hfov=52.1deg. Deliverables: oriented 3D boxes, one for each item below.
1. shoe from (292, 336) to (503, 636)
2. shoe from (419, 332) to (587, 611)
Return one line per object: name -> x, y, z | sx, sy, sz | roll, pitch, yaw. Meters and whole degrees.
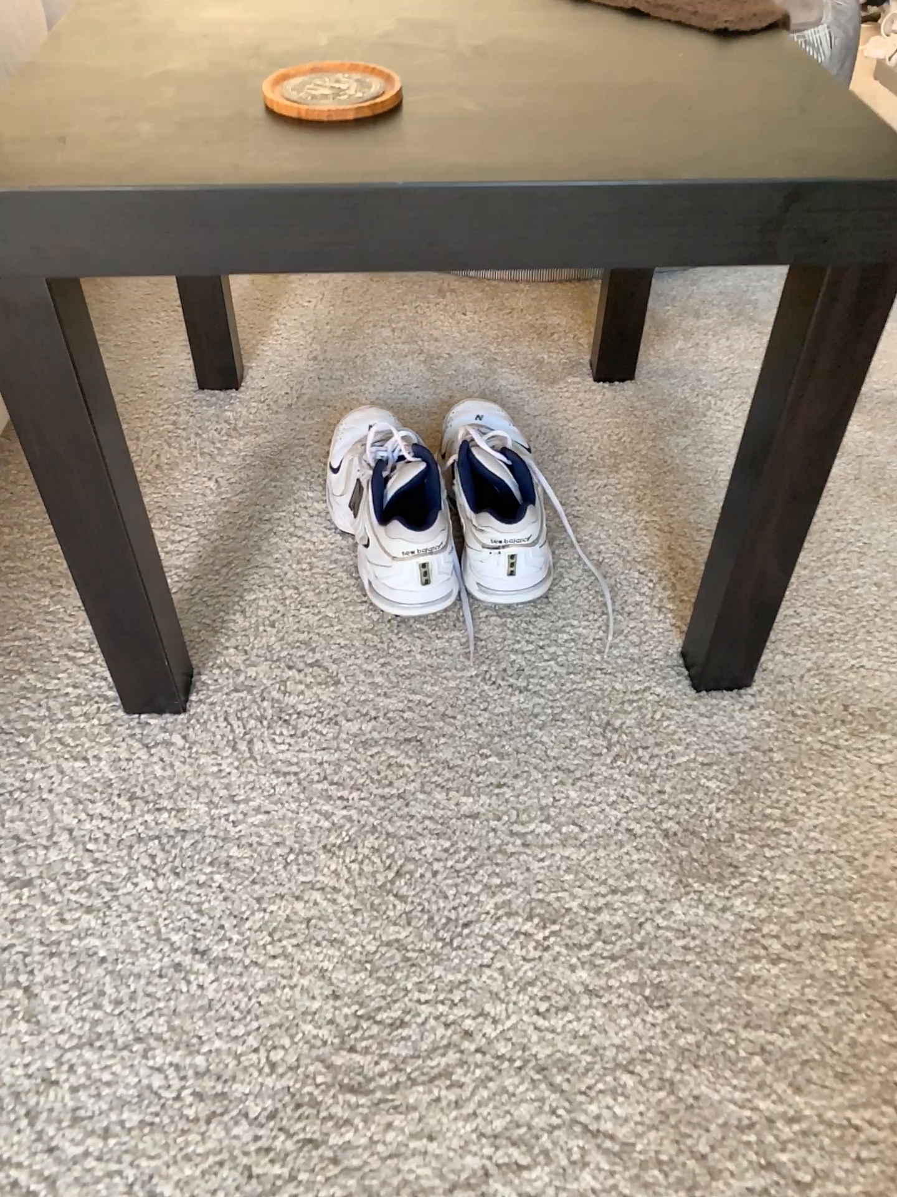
shoe -> -0.056, -0.117, 0.855 | 0.110, 0.099, 0.302 | -13, 47, -13
shoe -> 0.041, -0.134, 0.891 | 0.110, 0.099, 0.302 | -4, 46, -5
